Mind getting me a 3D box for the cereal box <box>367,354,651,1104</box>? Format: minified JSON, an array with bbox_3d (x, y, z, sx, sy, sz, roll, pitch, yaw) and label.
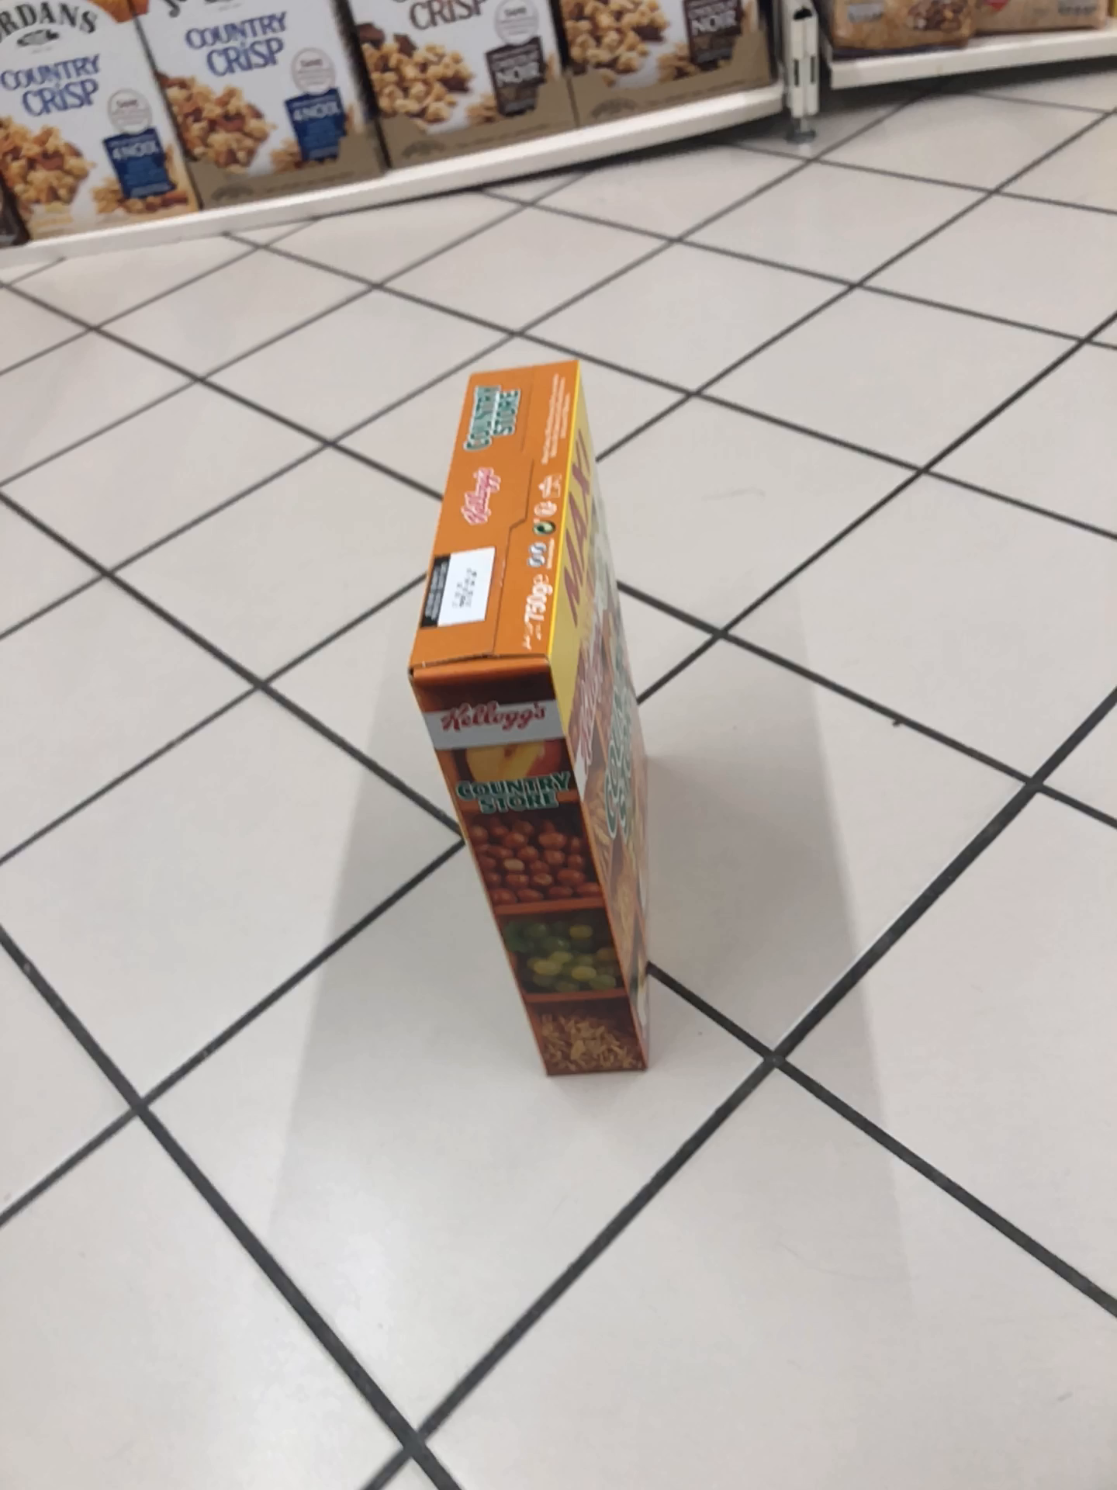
[{"bbox_3d":[-0.006,-0.003,0.519,0.060,0.239,0.201,-5,43,7],"label":"cereal box"}]
